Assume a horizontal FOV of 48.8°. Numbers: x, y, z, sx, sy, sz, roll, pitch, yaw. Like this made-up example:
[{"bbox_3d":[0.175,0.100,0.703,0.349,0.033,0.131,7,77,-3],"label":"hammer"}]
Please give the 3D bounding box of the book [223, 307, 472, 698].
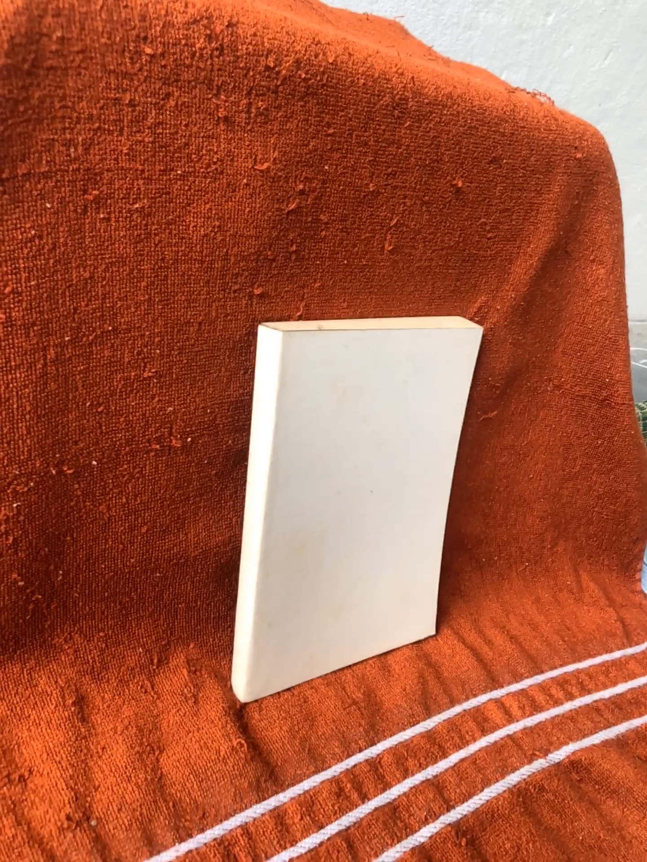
[{"bbox_3d":[0.017,0.032,0.411,0.151,0.200,0.030,-5,12,-37],"label":"book"}]
